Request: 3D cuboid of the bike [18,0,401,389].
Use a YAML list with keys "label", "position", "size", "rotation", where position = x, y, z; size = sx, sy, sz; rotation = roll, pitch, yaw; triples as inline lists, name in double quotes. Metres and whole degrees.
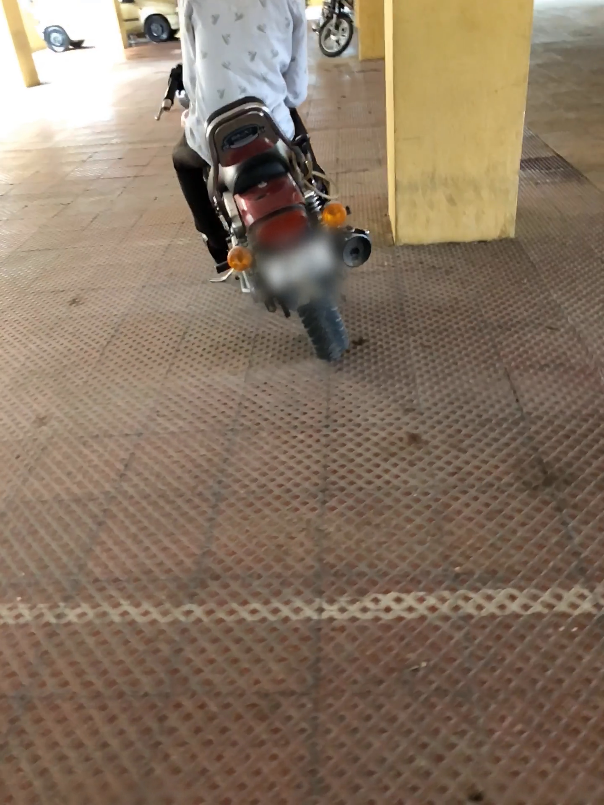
- label: "bike"
  position: [-0.404, -1.058, 2.402]
  size: [0.757, 1.048, 1.655]
  rotation: [-16, 40, -15]
